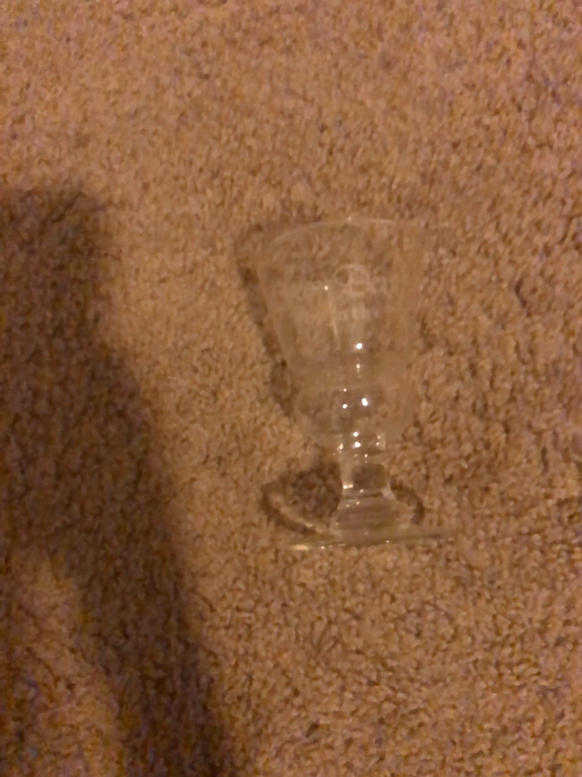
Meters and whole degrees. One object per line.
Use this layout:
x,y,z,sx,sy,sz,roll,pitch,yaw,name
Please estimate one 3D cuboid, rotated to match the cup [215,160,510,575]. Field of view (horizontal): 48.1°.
0.028,-0.004,0.295,0.094,0.078,0.157,-9,74,6,cup
